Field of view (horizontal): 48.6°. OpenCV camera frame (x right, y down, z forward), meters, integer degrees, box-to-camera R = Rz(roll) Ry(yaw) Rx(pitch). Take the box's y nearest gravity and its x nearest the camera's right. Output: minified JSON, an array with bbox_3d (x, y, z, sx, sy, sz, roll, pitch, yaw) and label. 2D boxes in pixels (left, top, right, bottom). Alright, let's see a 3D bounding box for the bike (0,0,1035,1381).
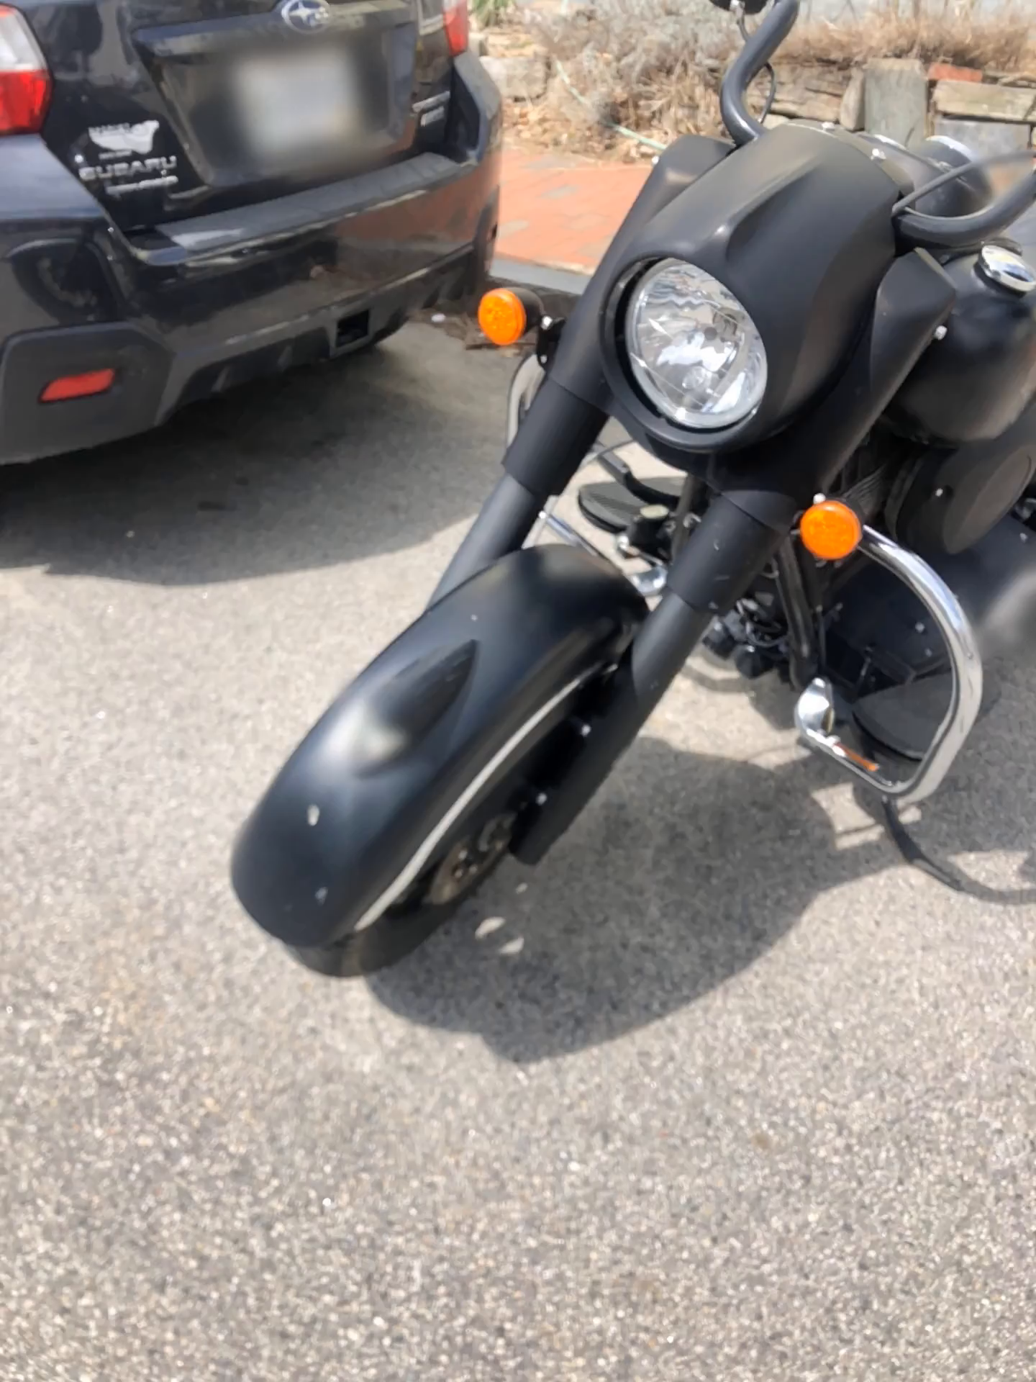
[{"bbox_3d":[0.469,-0.354,1.802,0.858,1.300,2.098,27,46,36],"label":"bike"}]
